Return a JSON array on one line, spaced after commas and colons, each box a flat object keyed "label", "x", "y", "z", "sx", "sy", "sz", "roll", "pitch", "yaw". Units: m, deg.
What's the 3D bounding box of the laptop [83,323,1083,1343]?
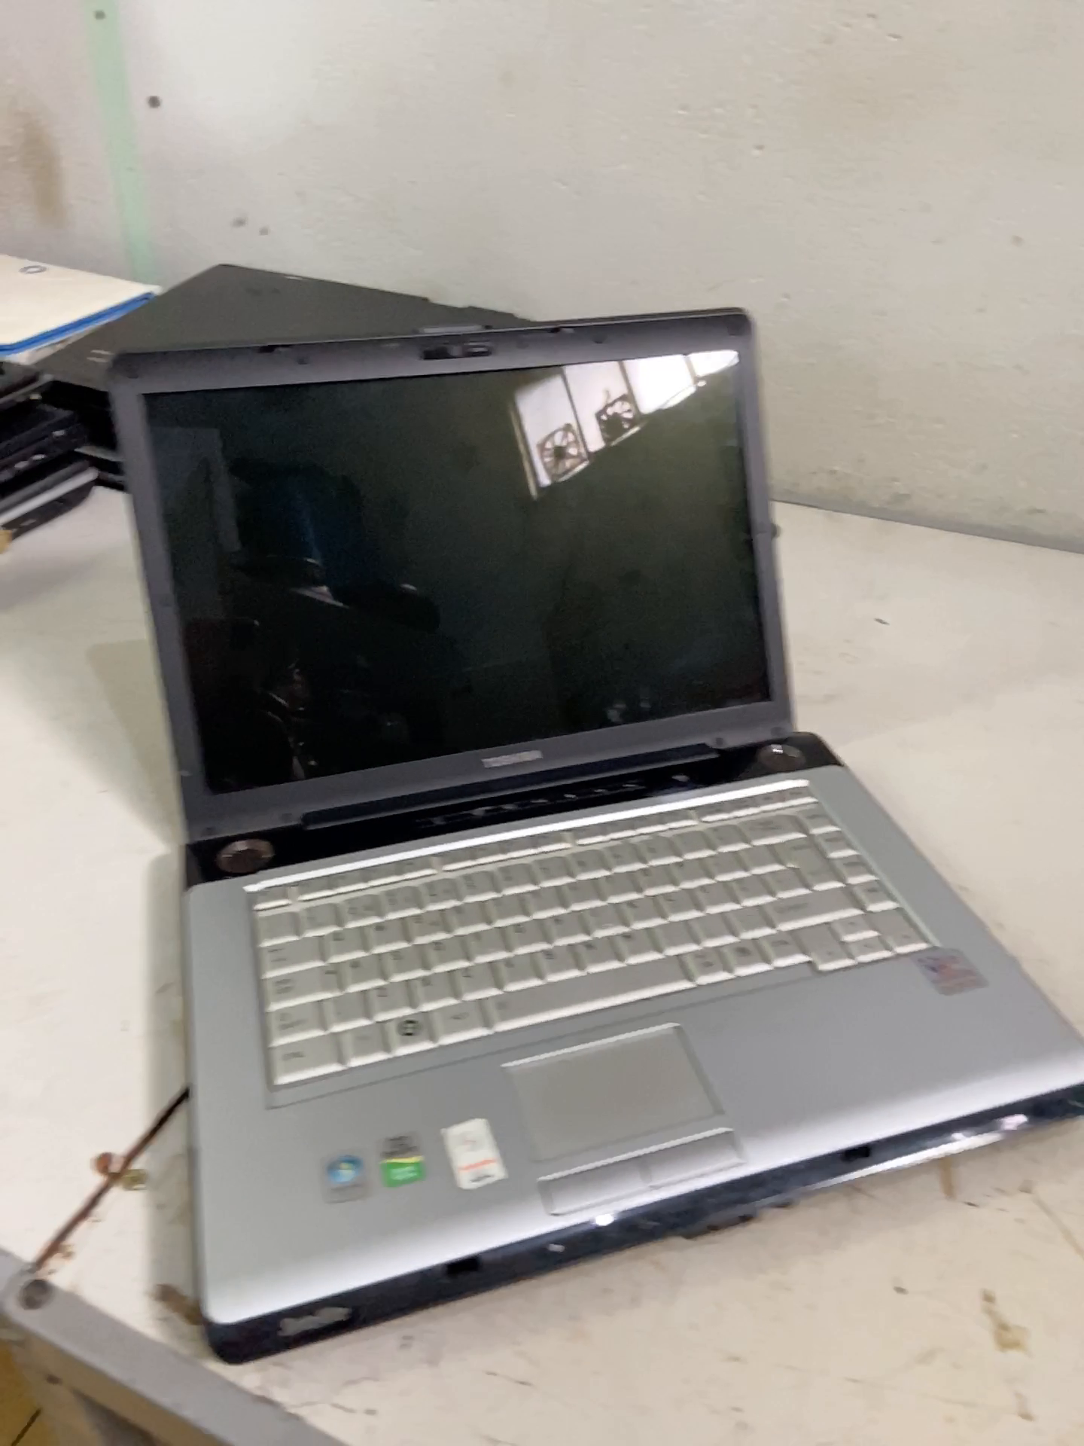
[{"label": "laptop", "x": 0.006, "y": -0.014, "z": 0.503, "sx": 0.351, "sy": 0.200, "sz": 0.395, "roll": -9, "pitch": 36, "yaw": -14}]
